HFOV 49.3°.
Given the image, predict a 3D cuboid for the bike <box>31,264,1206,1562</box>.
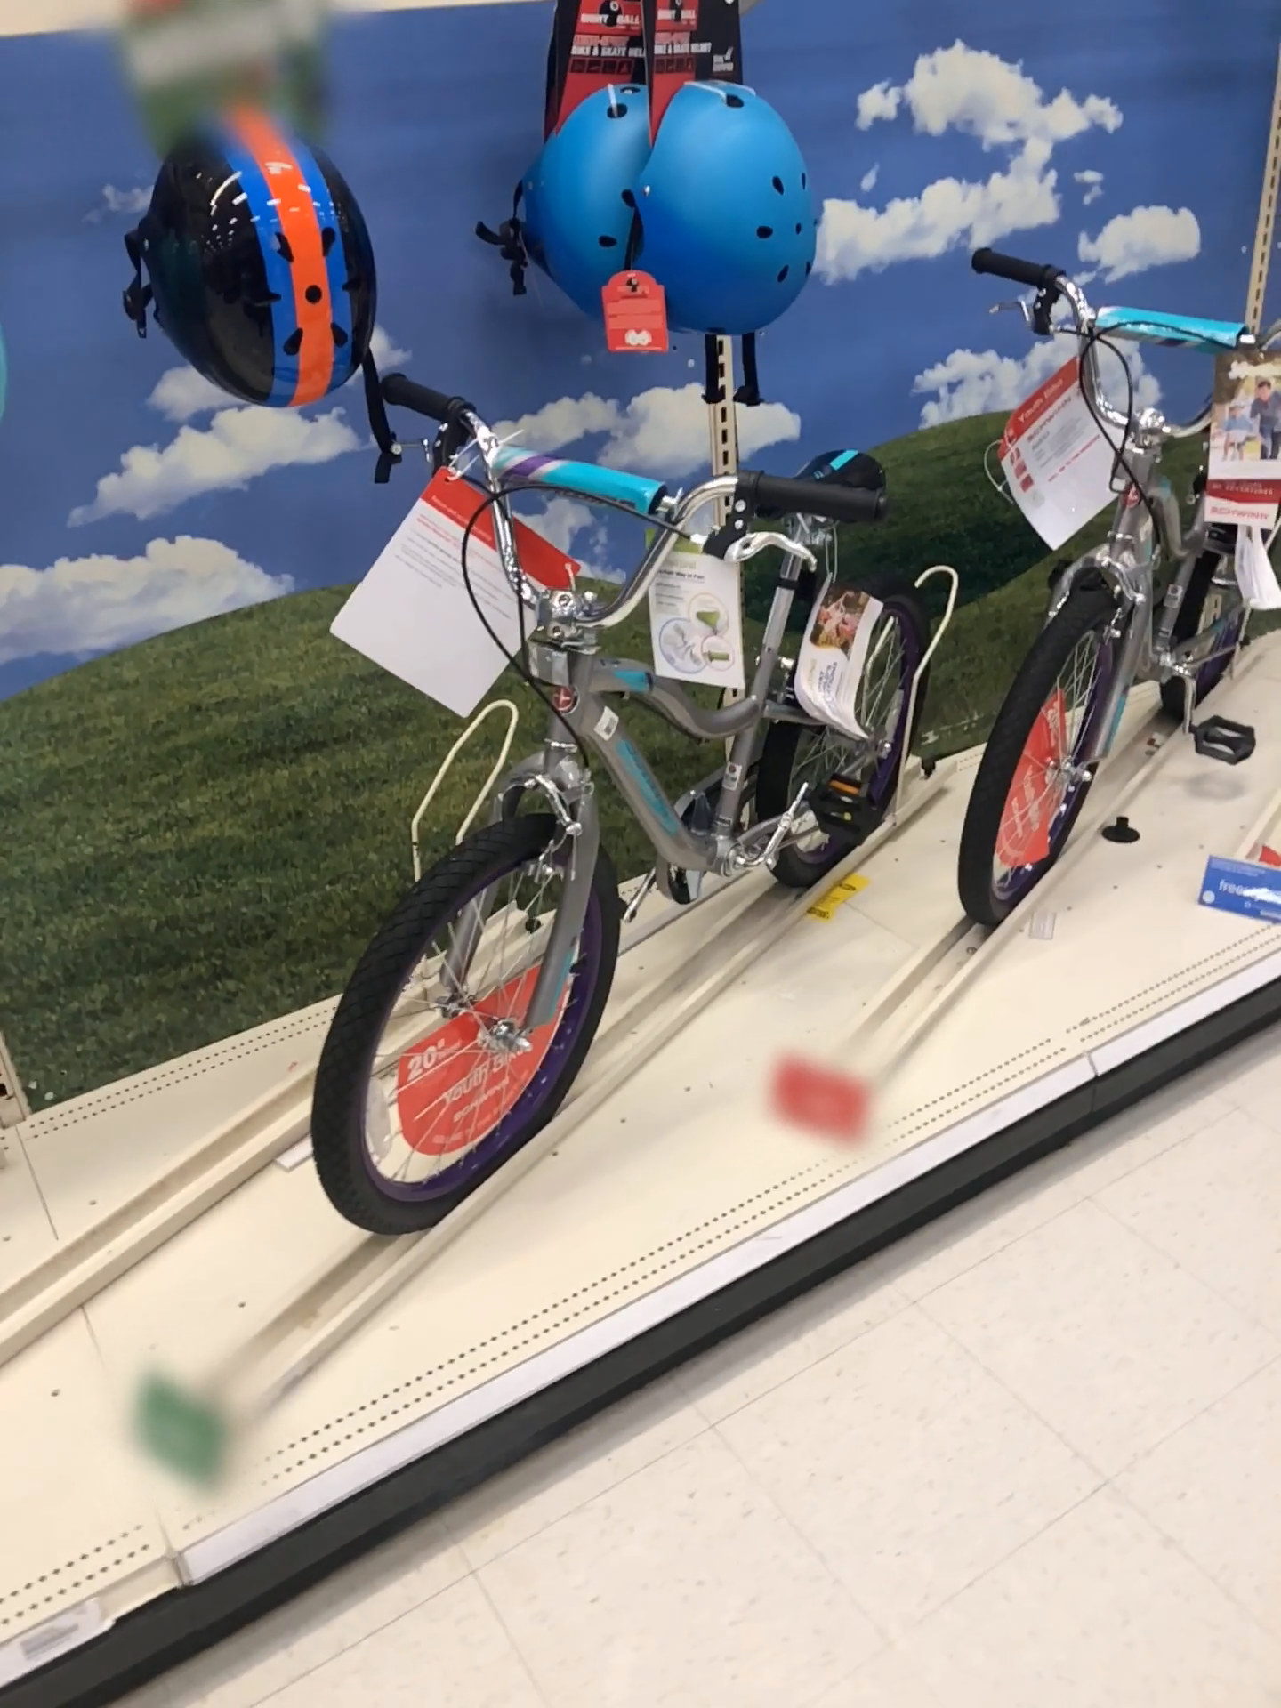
[{"bbox_3d":[0.114,-0.108,1.748,0.650,0.878,1.325,16,38,33],"label":"bike"}]
